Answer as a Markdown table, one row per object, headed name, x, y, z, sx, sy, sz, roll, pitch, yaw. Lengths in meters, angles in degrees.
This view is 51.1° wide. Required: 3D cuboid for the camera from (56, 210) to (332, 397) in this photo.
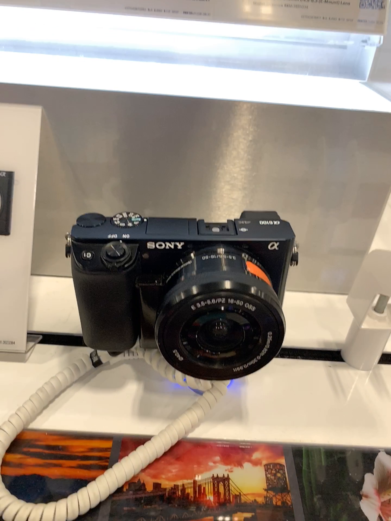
| name | x | y | z | sx | sy | sz | roll | pitch | yaw |
| --- | --- | --- | --- | --- | --- | --- | --- | --- | --- |
| camera | -0.005 | 0.020 | 0.225 | 0.120 | 0.070 | 0.070 | -1 | 36 | -8 |
